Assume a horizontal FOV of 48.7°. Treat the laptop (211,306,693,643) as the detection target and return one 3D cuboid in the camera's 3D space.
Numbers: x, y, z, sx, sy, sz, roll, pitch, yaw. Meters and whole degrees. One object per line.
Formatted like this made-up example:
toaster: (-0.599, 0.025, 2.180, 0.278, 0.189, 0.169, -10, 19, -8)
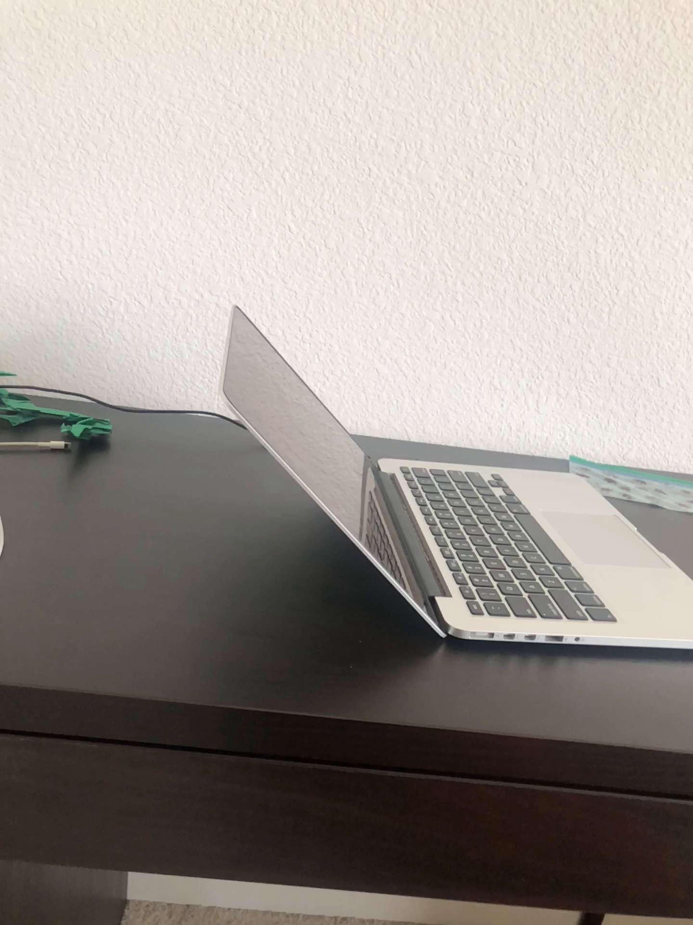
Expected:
laptop: (0.087, -0.012, 0.611, 0.362, 0.133, 0.310, 5, 20, -8)
